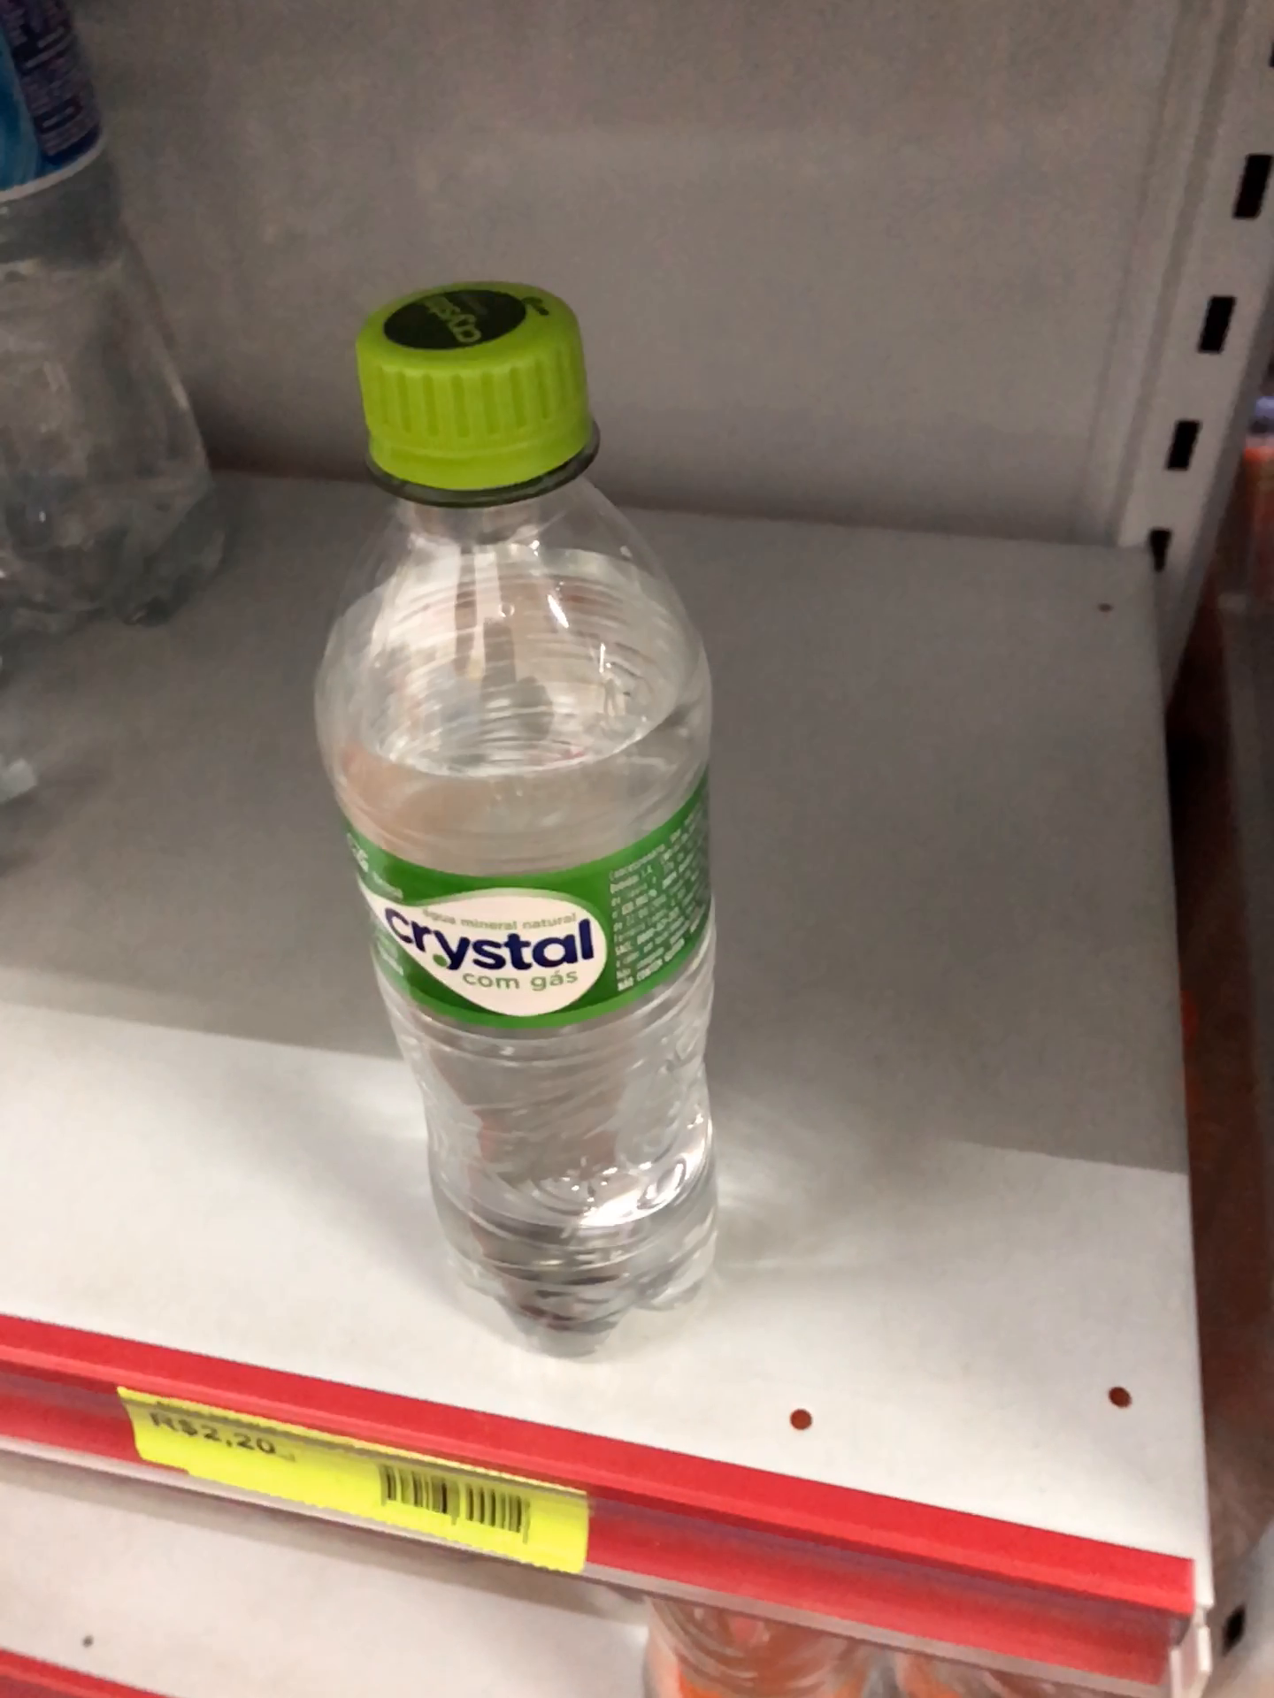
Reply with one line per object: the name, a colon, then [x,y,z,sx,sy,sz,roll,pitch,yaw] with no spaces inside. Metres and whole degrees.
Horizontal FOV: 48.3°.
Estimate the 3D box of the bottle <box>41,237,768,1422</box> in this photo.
bottle: [-0.021,0.017,0.250,0.070,0.218,0.060,10,47,13]
